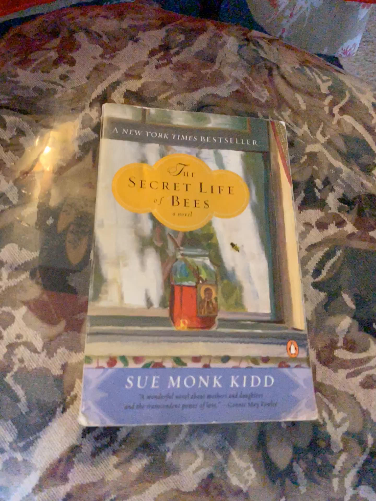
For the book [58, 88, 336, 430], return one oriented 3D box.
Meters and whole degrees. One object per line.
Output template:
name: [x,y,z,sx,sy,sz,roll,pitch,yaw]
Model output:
book: [0.003,-0.003,0.249,0.140,0.040,0.210,1,69,-5]
